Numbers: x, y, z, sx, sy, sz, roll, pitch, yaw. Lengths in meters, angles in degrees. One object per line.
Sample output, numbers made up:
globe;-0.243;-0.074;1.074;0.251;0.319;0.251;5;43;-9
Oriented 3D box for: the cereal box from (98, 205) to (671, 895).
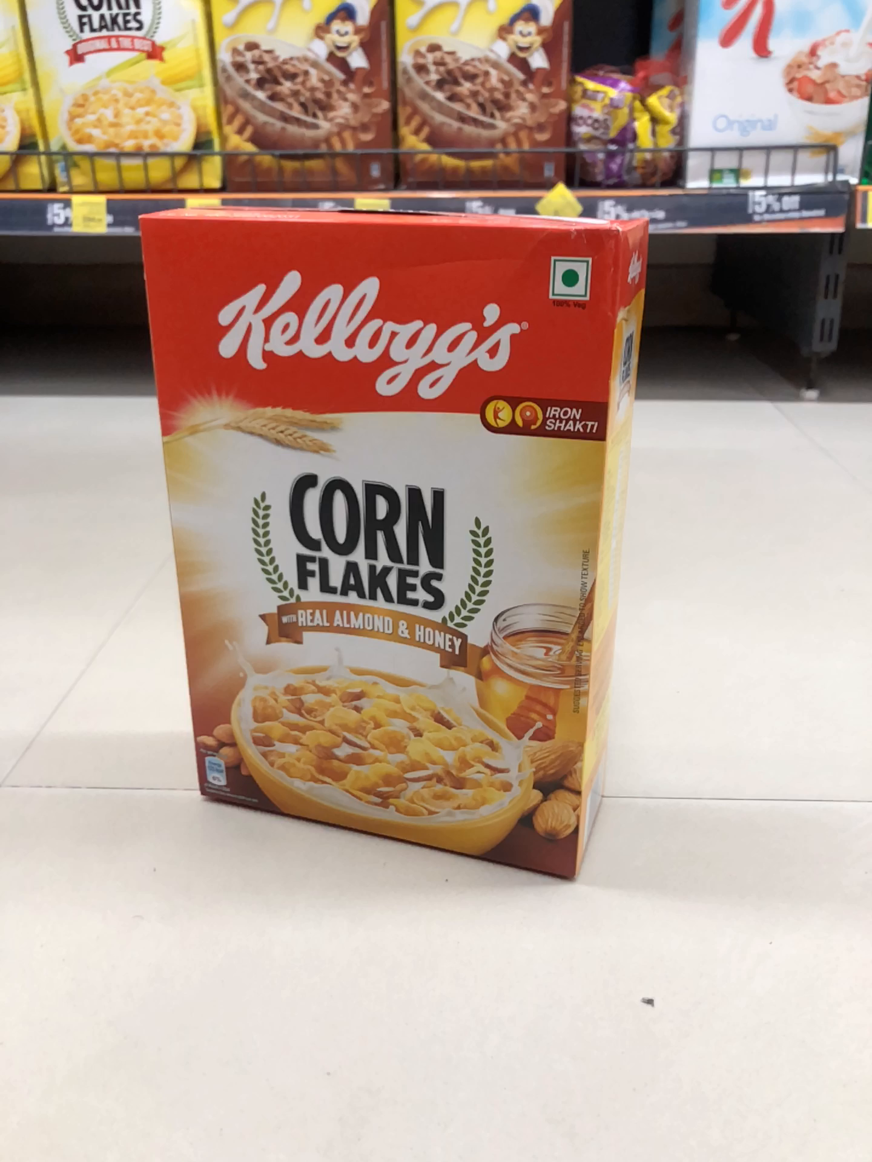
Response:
cereal box;-0.017;-0.015;0.391;0.190;0.249;0.070;8;25;17
